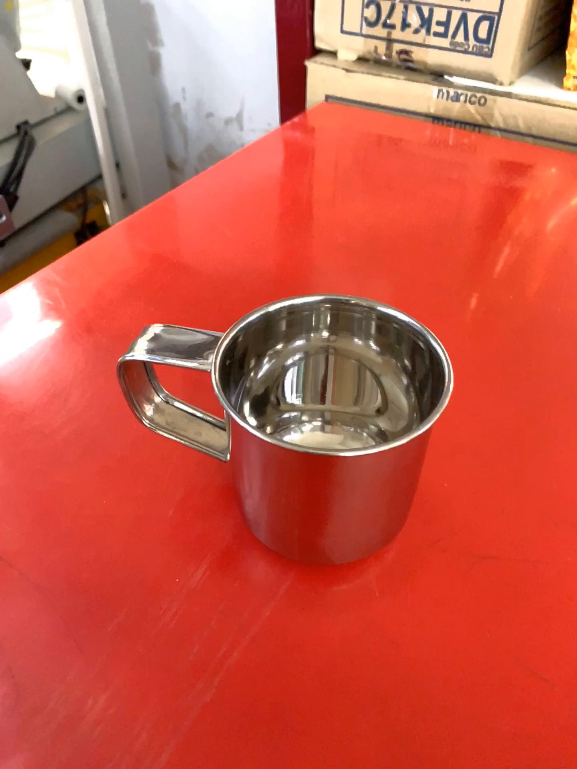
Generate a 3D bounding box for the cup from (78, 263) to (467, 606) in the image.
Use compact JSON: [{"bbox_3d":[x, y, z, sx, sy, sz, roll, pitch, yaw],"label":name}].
[{"bbox_3d":[0.000,0.014,0.225,0.110,0.069,0.081,12,44,13],"label":"cup"}]
